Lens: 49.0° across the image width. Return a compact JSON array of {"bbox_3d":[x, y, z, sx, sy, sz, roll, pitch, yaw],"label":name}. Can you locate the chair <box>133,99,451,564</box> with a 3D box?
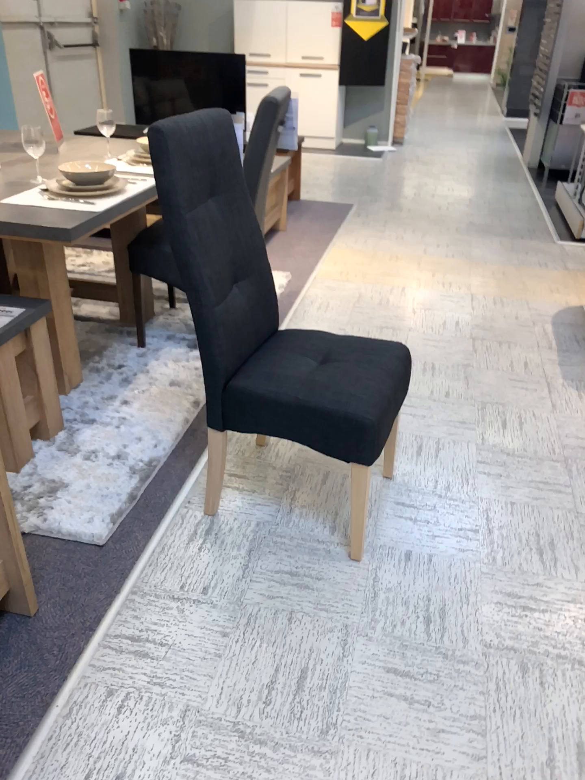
[{"bbox_3d":[0.014,-0.165,1.706,0.600,1.044,0.483,11,30,15],"label":"chair"}]
